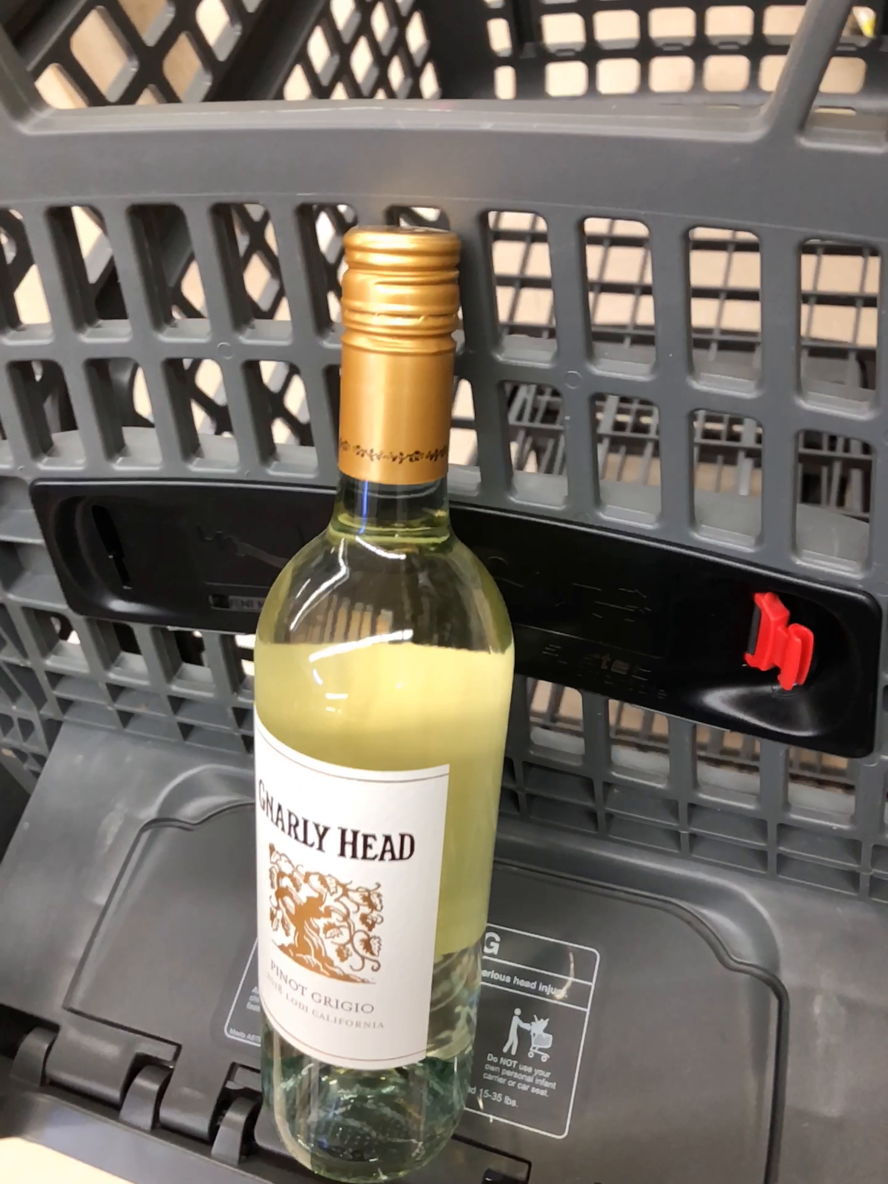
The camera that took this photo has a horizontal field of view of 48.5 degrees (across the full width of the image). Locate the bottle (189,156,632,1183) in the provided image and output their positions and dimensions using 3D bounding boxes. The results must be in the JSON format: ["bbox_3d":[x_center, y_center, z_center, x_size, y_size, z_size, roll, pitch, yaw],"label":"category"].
[{"bbox_3d":[-0.017,0.034,0.281,0.080,0.070,0.280,14,112,20],"label":"bottle"}]
